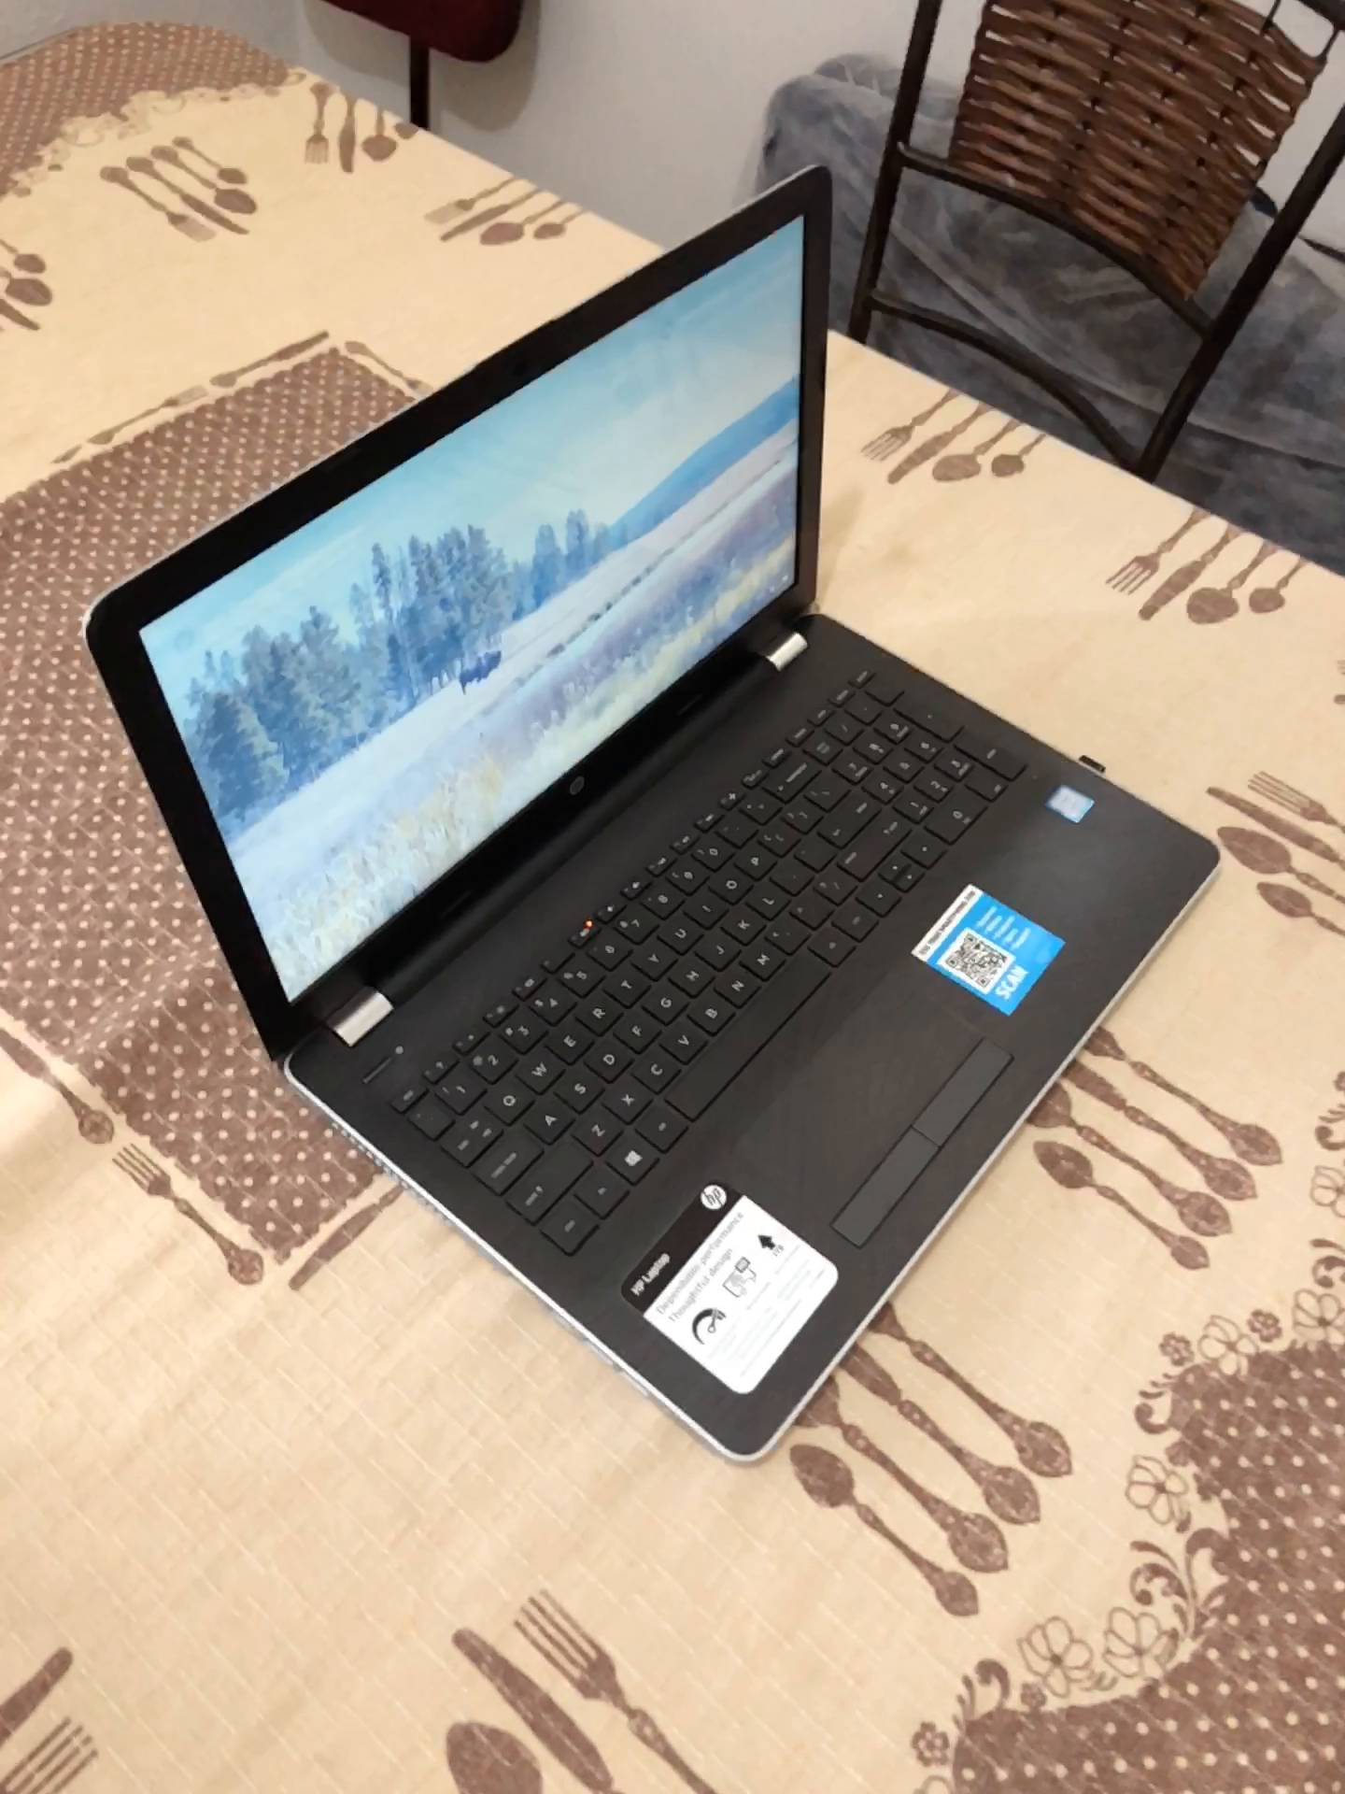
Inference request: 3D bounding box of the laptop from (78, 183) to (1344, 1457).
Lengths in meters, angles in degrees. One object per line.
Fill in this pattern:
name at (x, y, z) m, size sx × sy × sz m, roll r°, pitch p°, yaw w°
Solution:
laptop at (0.042, -0.049, 0.557) m, size 0.268 × 0.226 × 0.361 m, roll 34°, pitch 58°, yaw 21°
